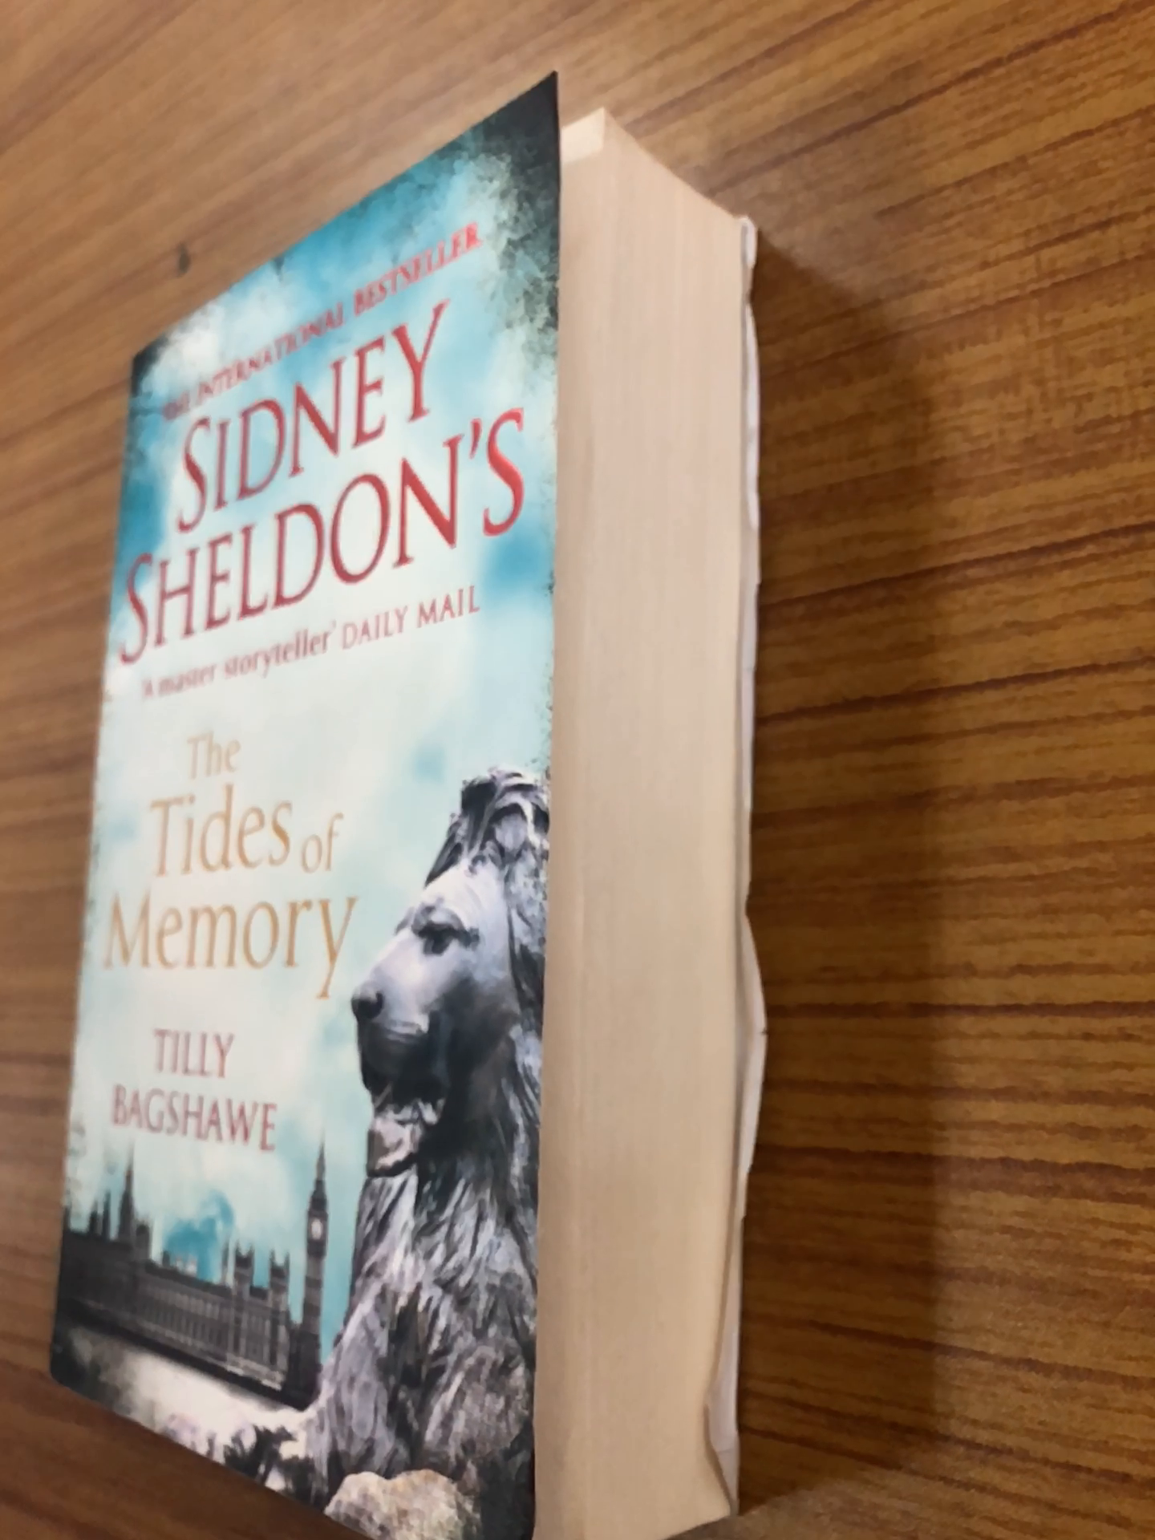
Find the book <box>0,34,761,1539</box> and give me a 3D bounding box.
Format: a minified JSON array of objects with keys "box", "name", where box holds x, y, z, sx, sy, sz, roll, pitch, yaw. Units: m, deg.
[{"box":[-0.035,0.009,0.191,0.122,0.037,0.168,-9,77,43],"name":"book"}]
